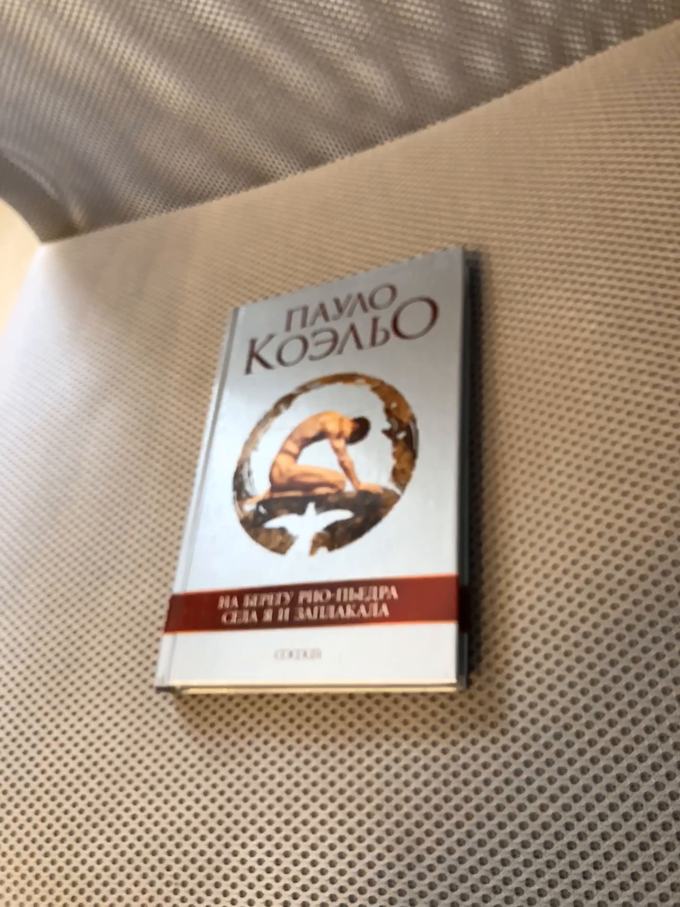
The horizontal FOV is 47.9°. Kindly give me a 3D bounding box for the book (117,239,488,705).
[{"bbox_3d":[-0.010,0.005,0.296,0.131,0.020,0.174,-9,59,25],"label":"book"}]
